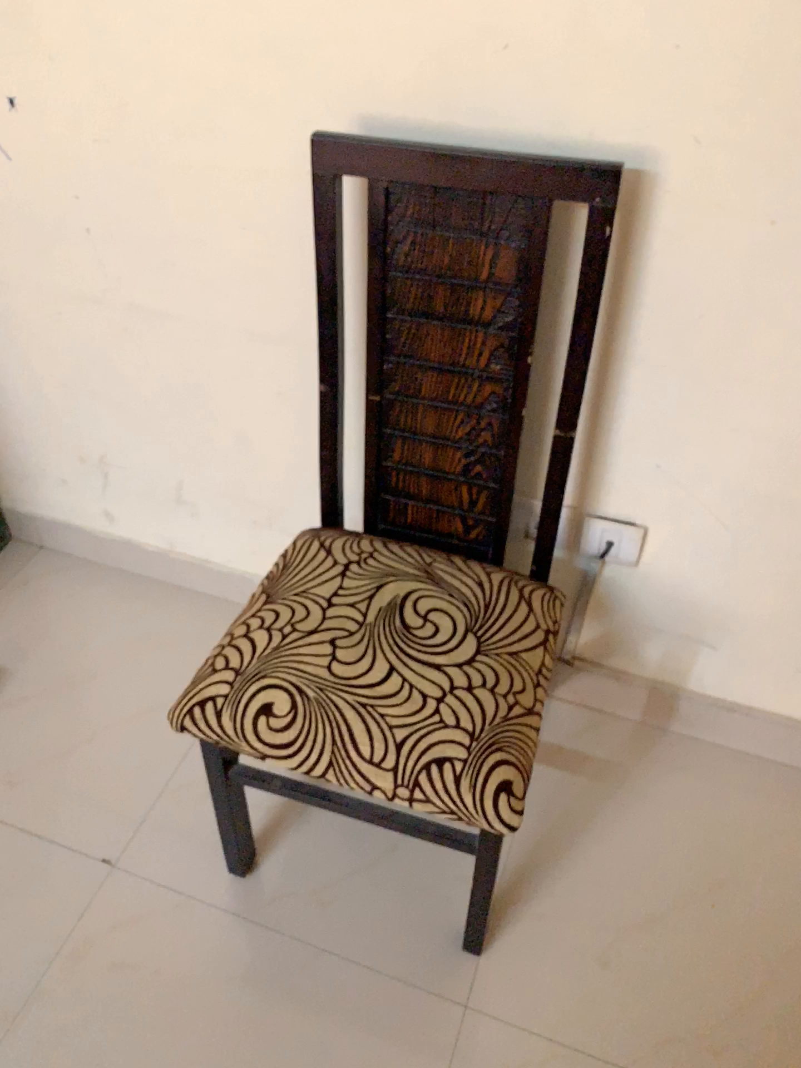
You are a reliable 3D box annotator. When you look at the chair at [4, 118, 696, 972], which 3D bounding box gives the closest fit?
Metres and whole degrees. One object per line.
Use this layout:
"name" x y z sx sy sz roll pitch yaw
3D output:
"chair" 0.009 0.031 1.130 0.530 0.922 0.585 12 42 12
